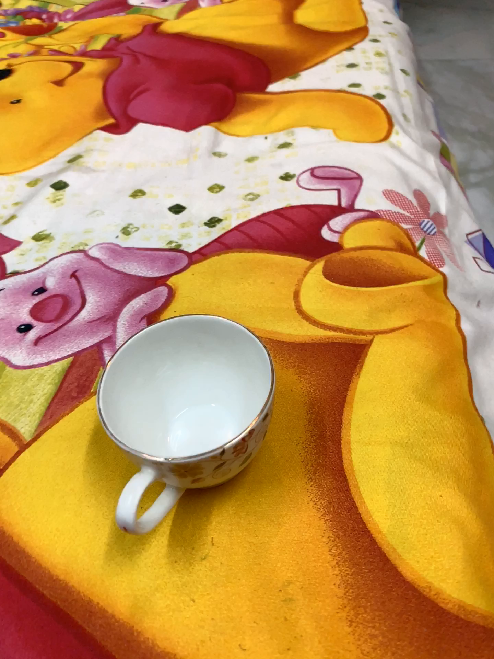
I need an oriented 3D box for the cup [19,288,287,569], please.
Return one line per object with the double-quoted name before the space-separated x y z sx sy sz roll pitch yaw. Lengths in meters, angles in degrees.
"cup" -0.035 0.042 0.247 0.080 0.060 0.101 11 51 17
